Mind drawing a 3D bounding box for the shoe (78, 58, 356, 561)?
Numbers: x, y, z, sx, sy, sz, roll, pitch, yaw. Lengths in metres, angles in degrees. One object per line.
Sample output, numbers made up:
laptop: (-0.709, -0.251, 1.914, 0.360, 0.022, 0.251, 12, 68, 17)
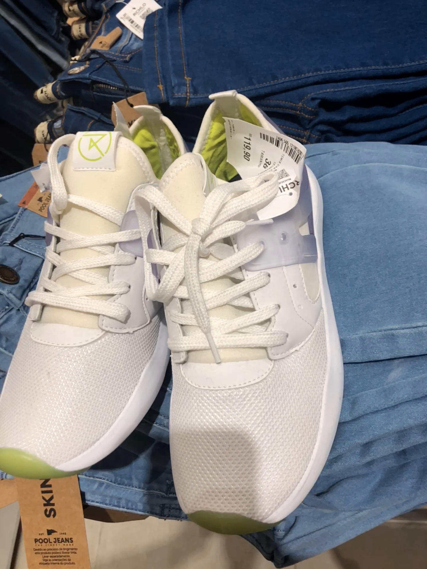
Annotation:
shoe: (0.016, 0.007, 0.273, 0.100, 0.090, 0.251, -7, 61, 24)

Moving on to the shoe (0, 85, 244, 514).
shoe: (-0.068, -0.018, 0.312, 0.110, 0.119, 0.261, 6, 45, 17)
